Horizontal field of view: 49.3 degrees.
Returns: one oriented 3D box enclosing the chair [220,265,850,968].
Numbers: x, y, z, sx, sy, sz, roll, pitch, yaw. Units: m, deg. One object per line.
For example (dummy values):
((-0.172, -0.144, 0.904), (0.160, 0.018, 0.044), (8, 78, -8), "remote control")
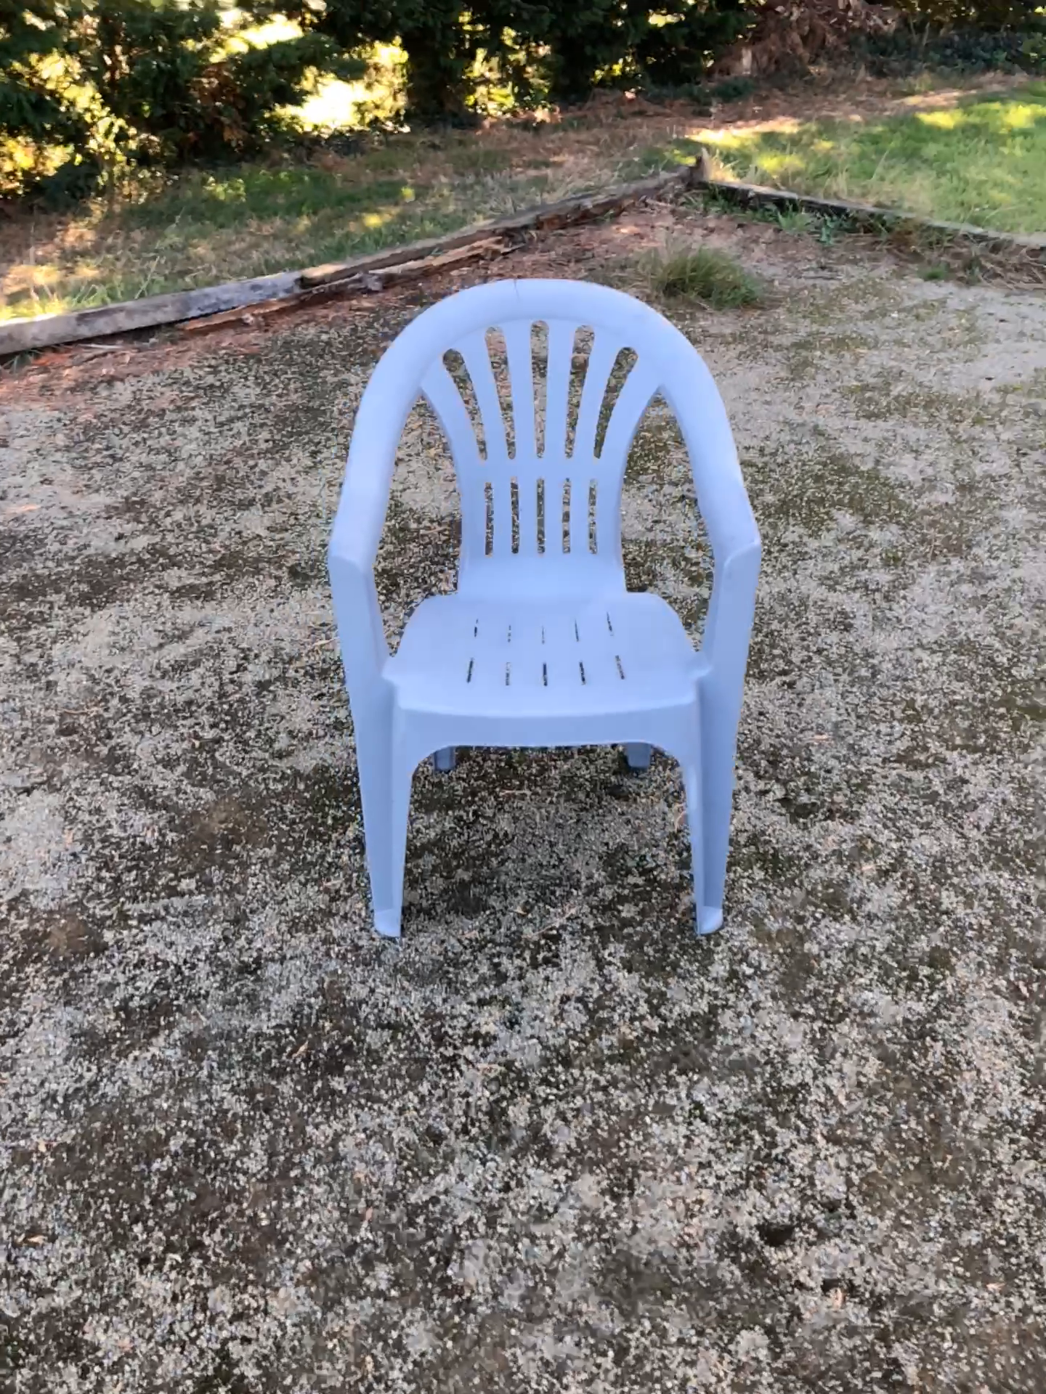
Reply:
((0.029, -0.125, 1.617), (0.630, 0.775, 0.624), (0, 36, 2), "chair")
